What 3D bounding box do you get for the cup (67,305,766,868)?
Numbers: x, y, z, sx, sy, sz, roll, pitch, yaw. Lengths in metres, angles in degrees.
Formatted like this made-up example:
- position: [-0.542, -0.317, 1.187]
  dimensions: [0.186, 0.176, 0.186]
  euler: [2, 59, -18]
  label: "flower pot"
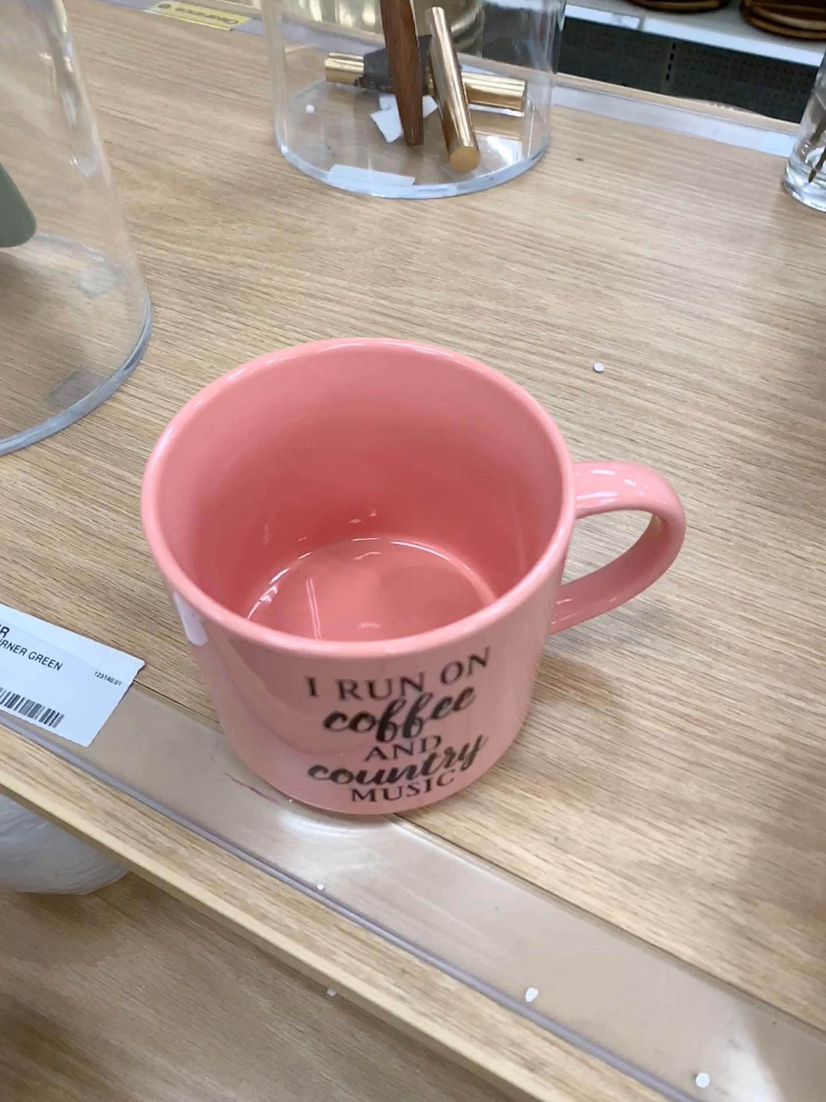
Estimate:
- position: [-0.004, 0.008, 0.226]
  dimensions: [0.132, 0.085, 0.104]
  euler: [-6, 51, -5]
  label: "cup"
